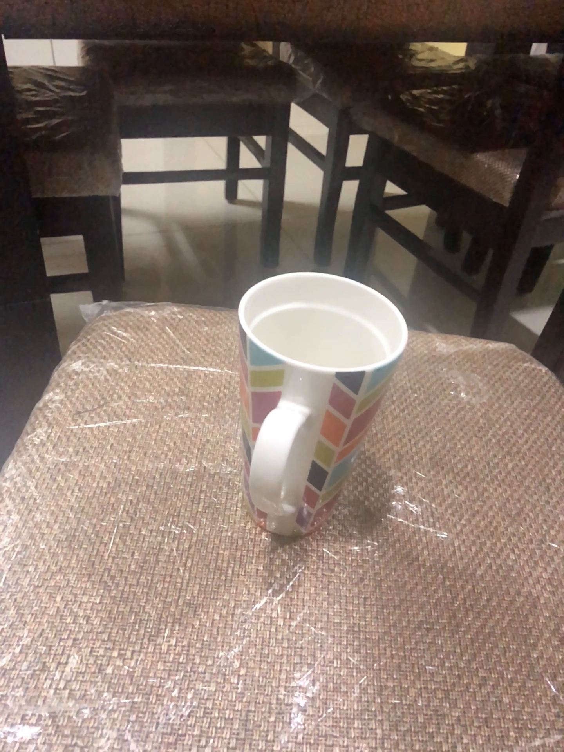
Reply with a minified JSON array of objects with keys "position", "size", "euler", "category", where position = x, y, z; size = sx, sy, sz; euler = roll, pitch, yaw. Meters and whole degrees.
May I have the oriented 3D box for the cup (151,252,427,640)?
[{"position":[0.003,0.034,0.342],"size":[0.090,0.139,0.130],"euler":[20,40,13],"category":"cup"}]
